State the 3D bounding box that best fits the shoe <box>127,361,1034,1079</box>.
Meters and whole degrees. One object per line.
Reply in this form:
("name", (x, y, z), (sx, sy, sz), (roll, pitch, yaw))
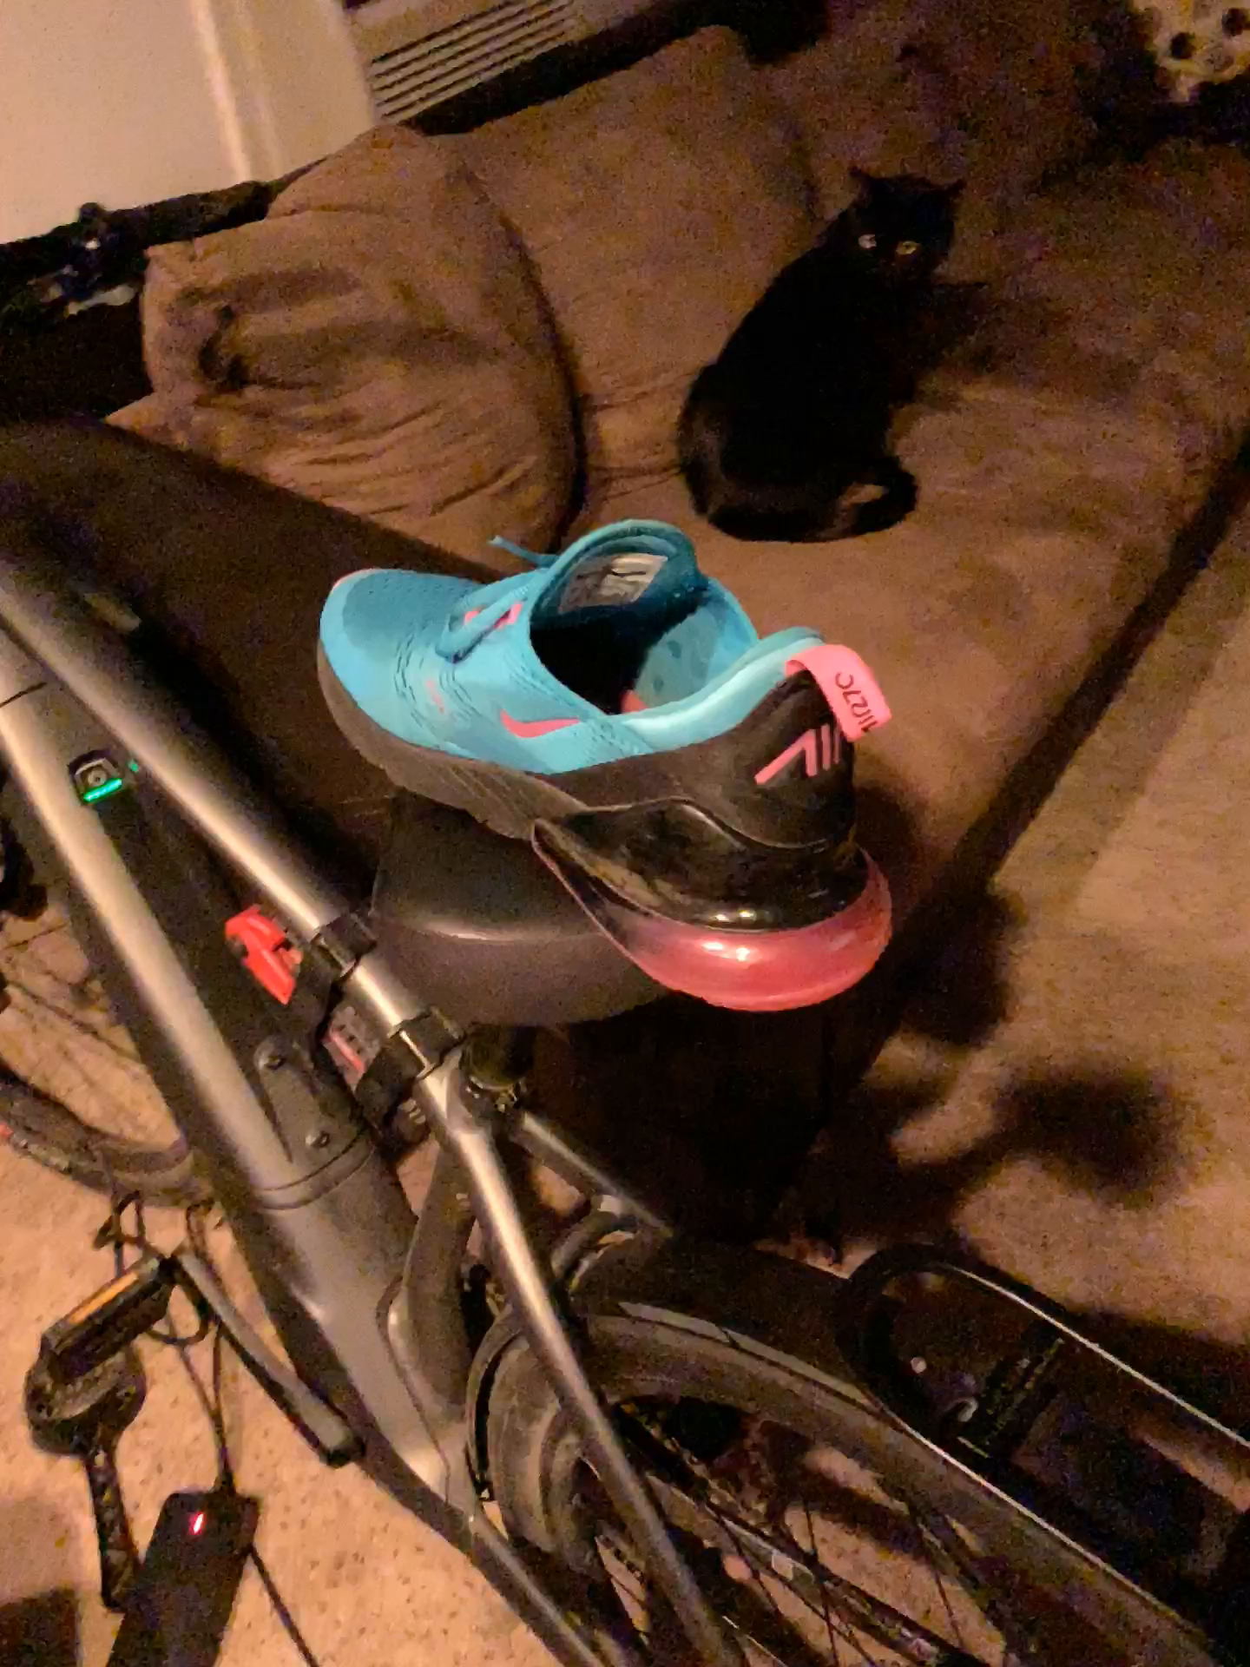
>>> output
("shoe", (-0.027, -0.068, 0.569), (0.330, 0.130, 0.150), (28, 52, 32))
